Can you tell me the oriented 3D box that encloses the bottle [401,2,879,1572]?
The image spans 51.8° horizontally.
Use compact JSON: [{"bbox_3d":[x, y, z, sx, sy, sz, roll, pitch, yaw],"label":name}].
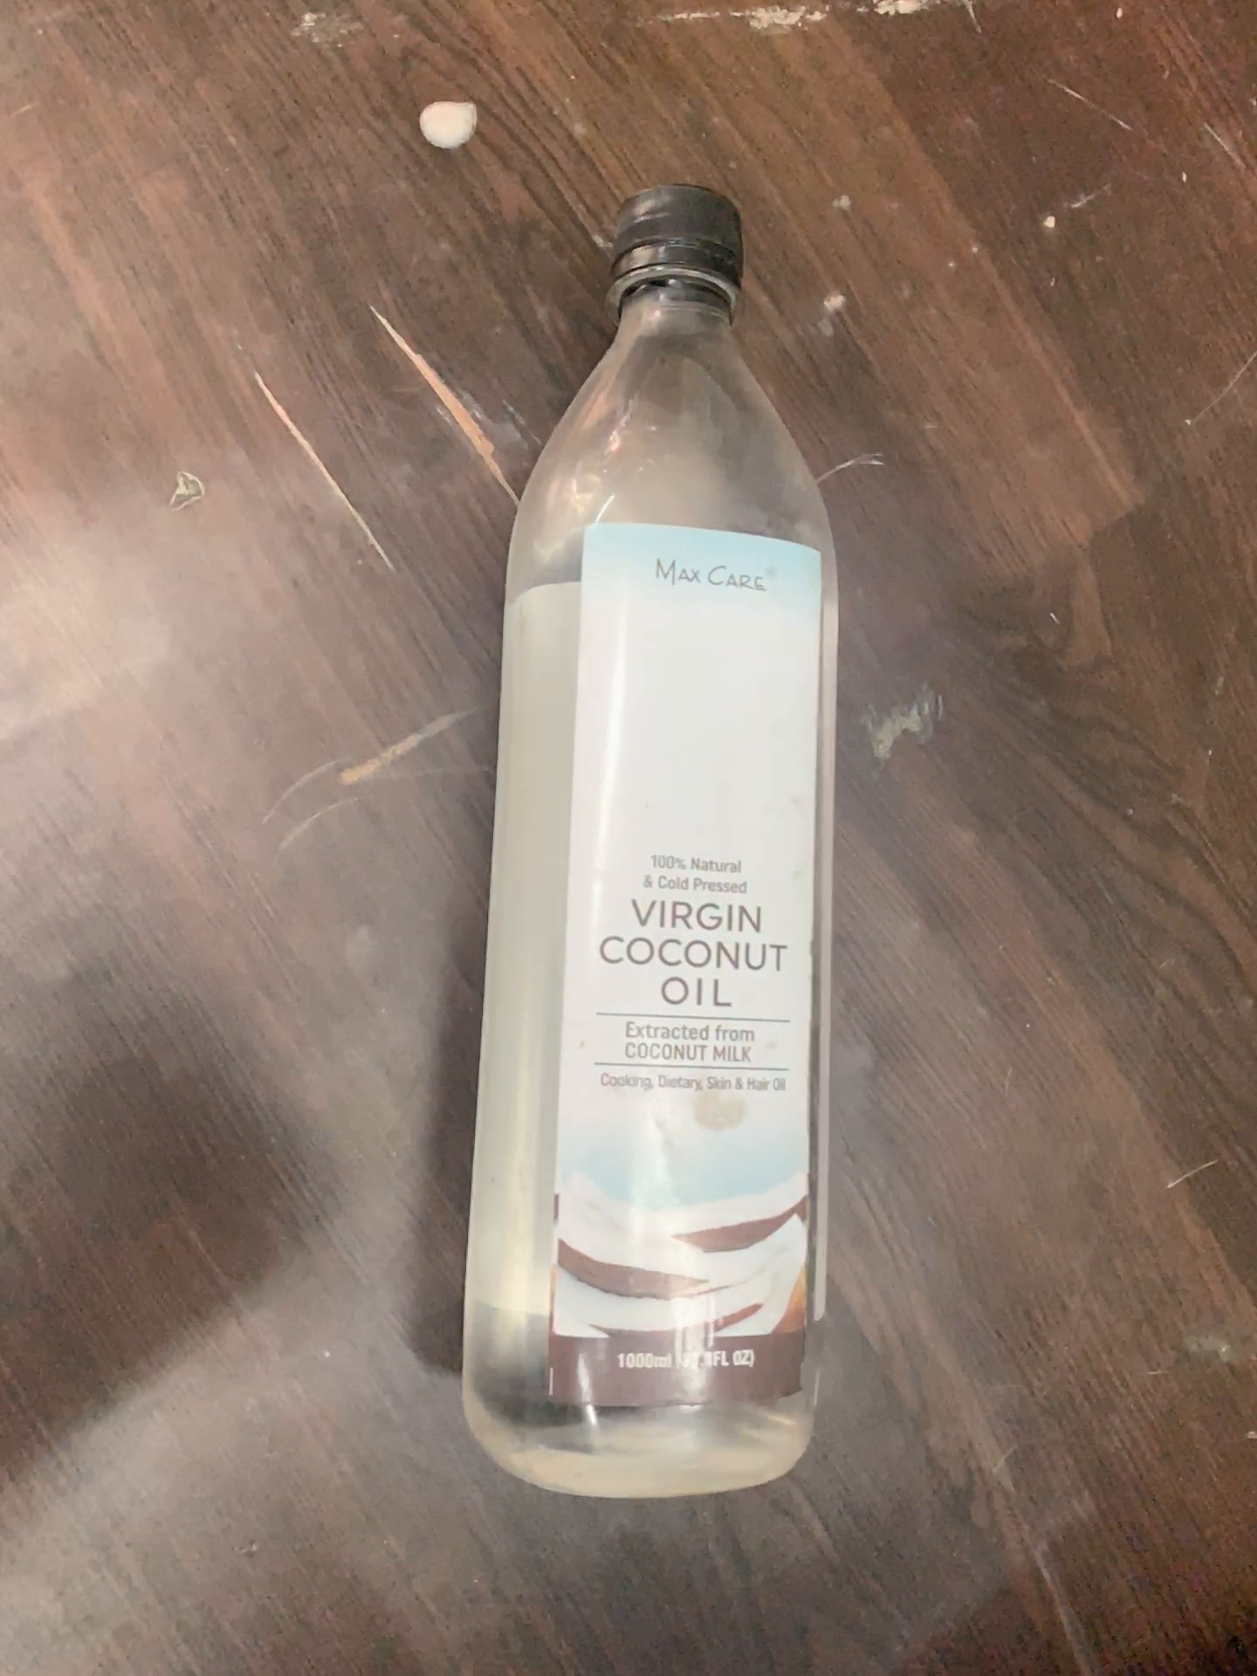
[{"bbox_3d":[0.001,-0.013,0.279,0.080,0.070,0.290,3,84,-13],"label":"bottle"}]
